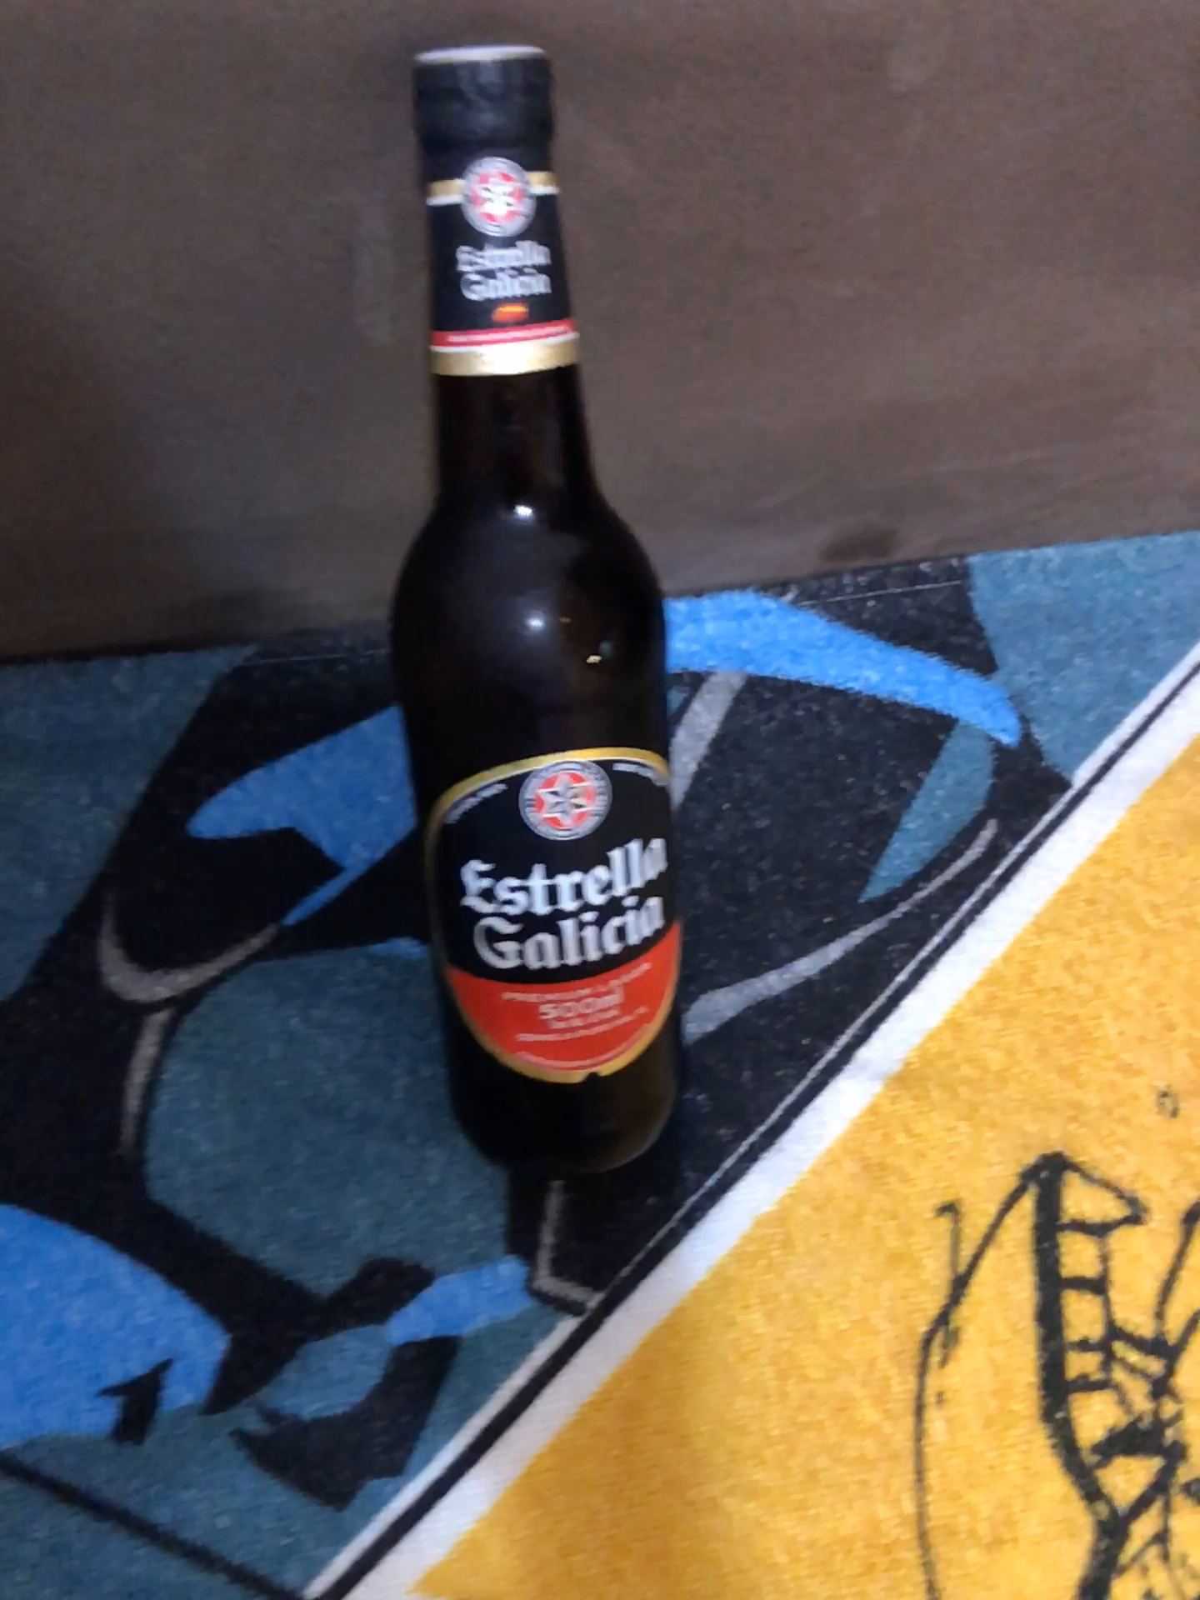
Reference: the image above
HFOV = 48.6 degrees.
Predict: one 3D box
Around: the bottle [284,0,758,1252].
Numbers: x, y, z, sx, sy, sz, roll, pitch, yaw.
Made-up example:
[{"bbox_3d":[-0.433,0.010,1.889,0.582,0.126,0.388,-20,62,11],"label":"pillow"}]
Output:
[{"bbox_3d":[-0.014,-0.030,0.319,0.080,0.269,0.080,-3,25,1],"label":"bottle"}]
